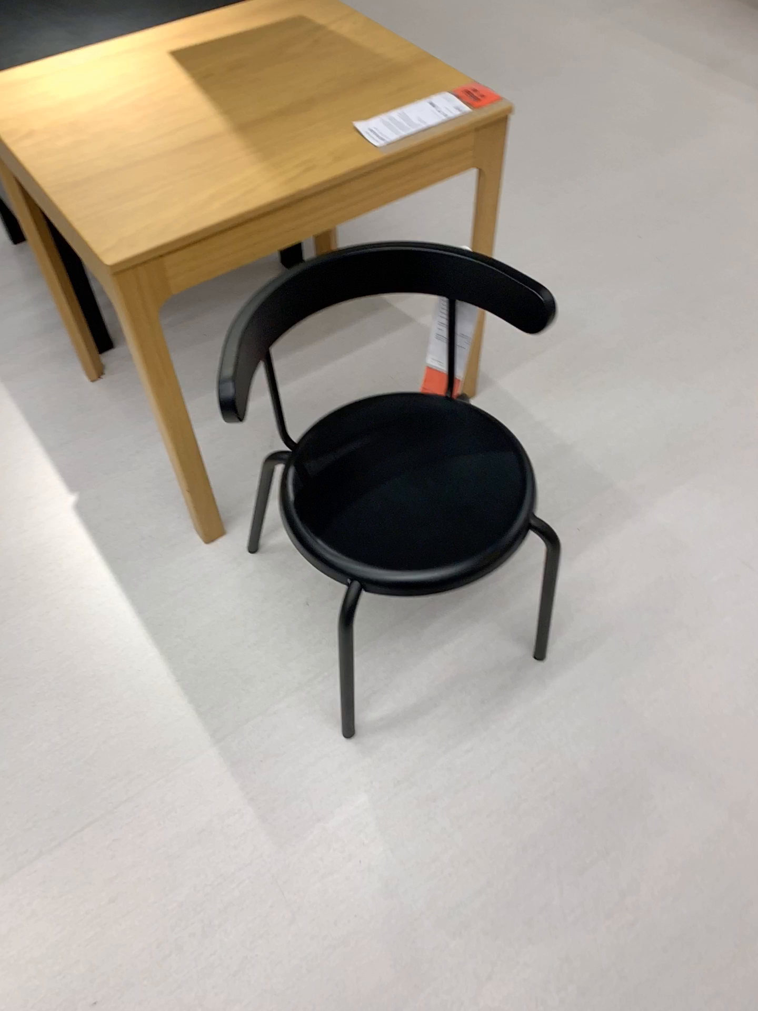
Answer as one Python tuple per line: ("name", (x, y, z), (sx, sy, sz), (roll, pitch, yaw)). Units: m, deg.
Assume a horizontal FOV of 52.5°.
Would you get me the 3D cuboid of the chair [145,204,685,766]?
("chair", (0.018, -0.035, 1.358), (0.590, 0.598, 0.612), (-18, 55, -12))
